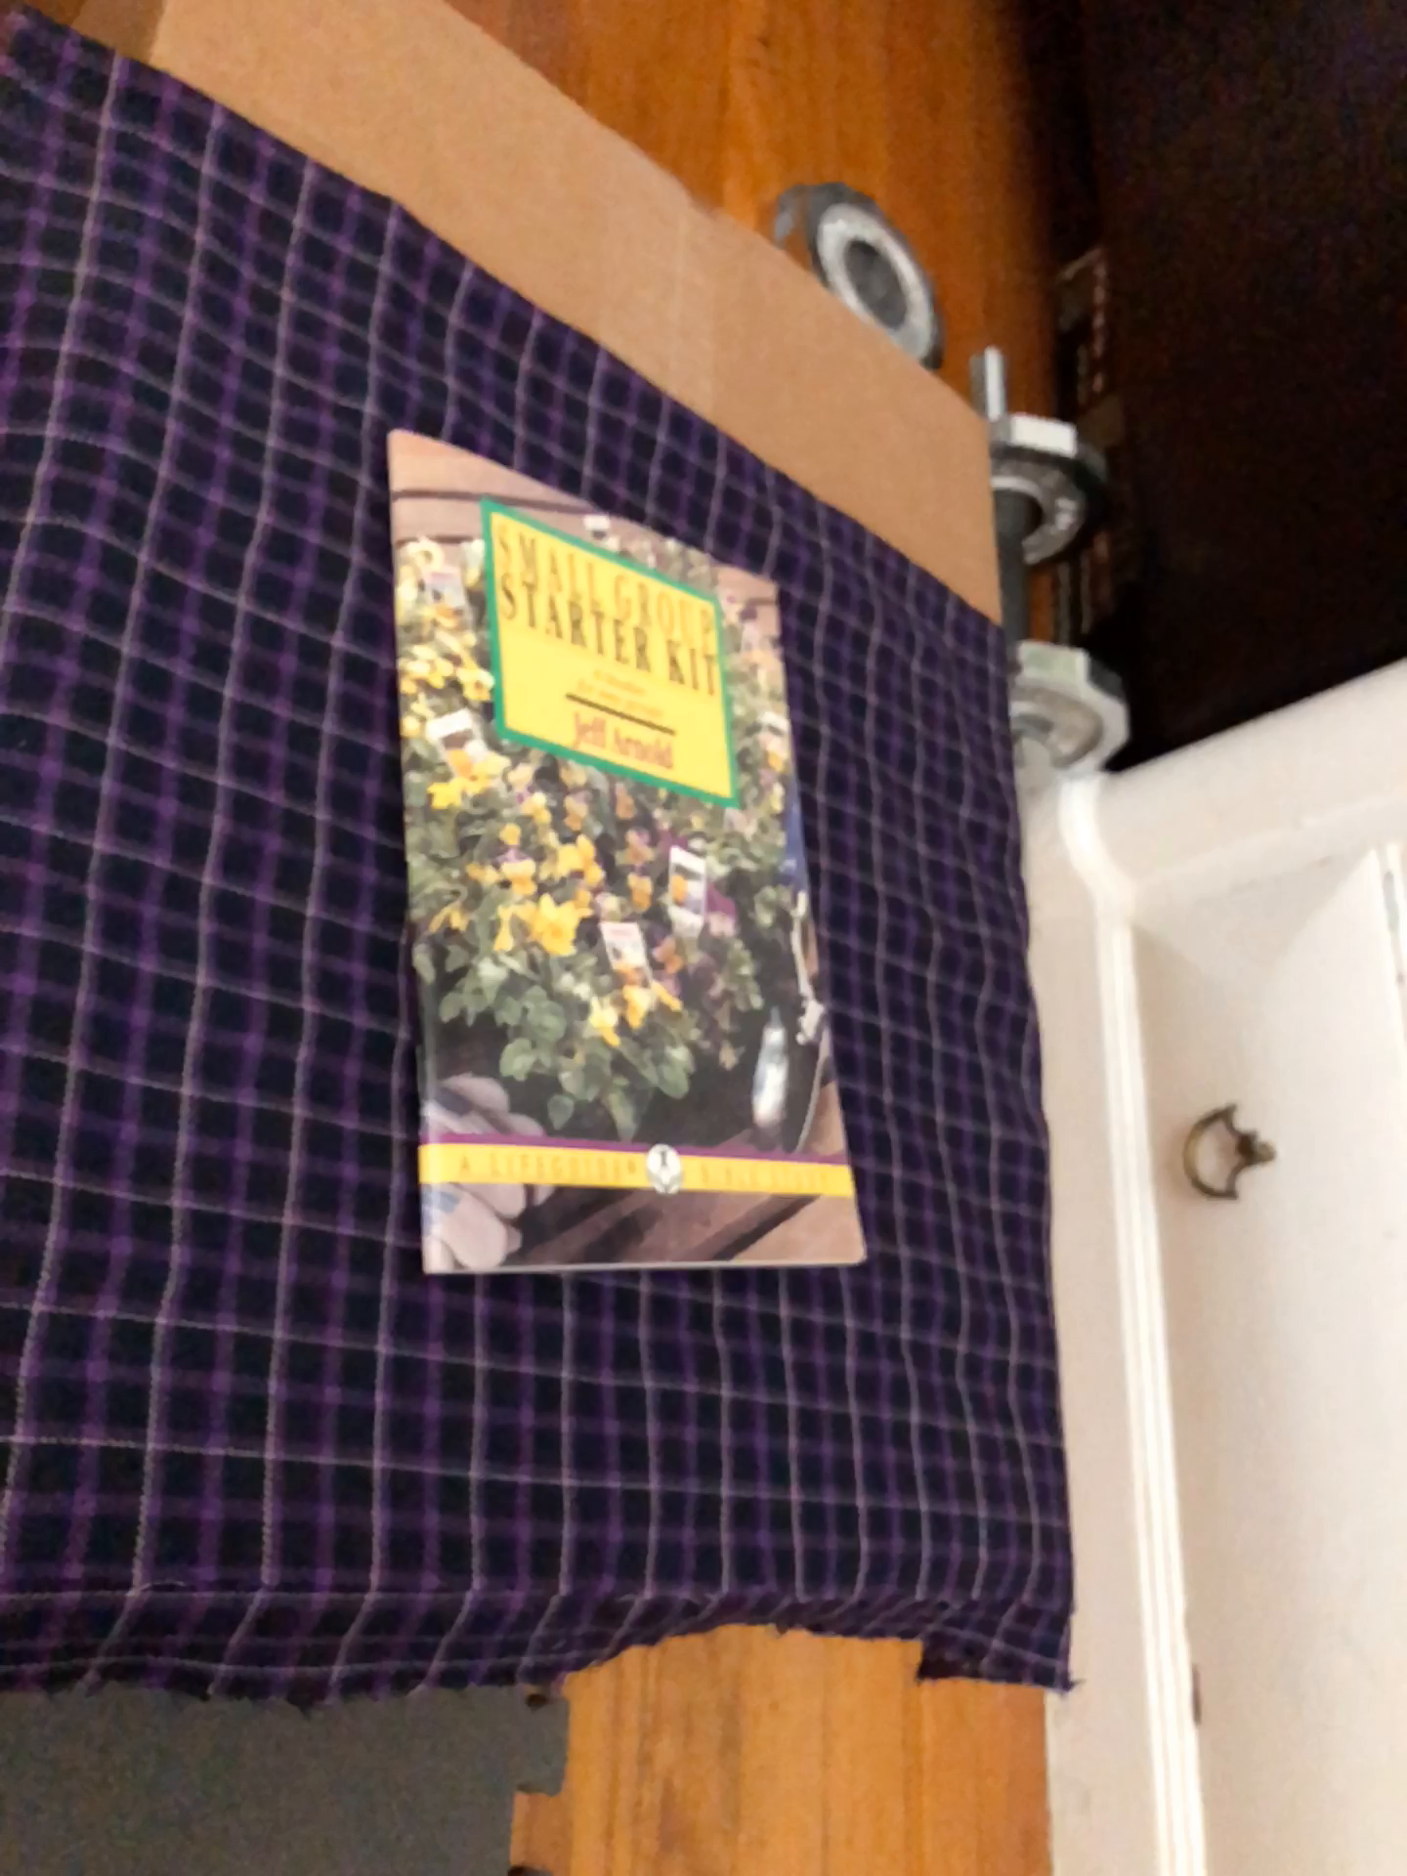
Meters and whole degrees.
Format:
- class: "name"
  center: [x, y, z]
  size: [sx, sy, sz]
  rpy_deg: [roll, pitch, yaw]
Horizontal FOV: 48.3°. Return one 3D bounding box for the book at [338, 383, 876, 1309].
- class: "book"
  center: [-0.022, -0.019, 0.405]
  size: [0.150, 0.010, 0.220]
  rpy_deg: [11, 66, -43]
